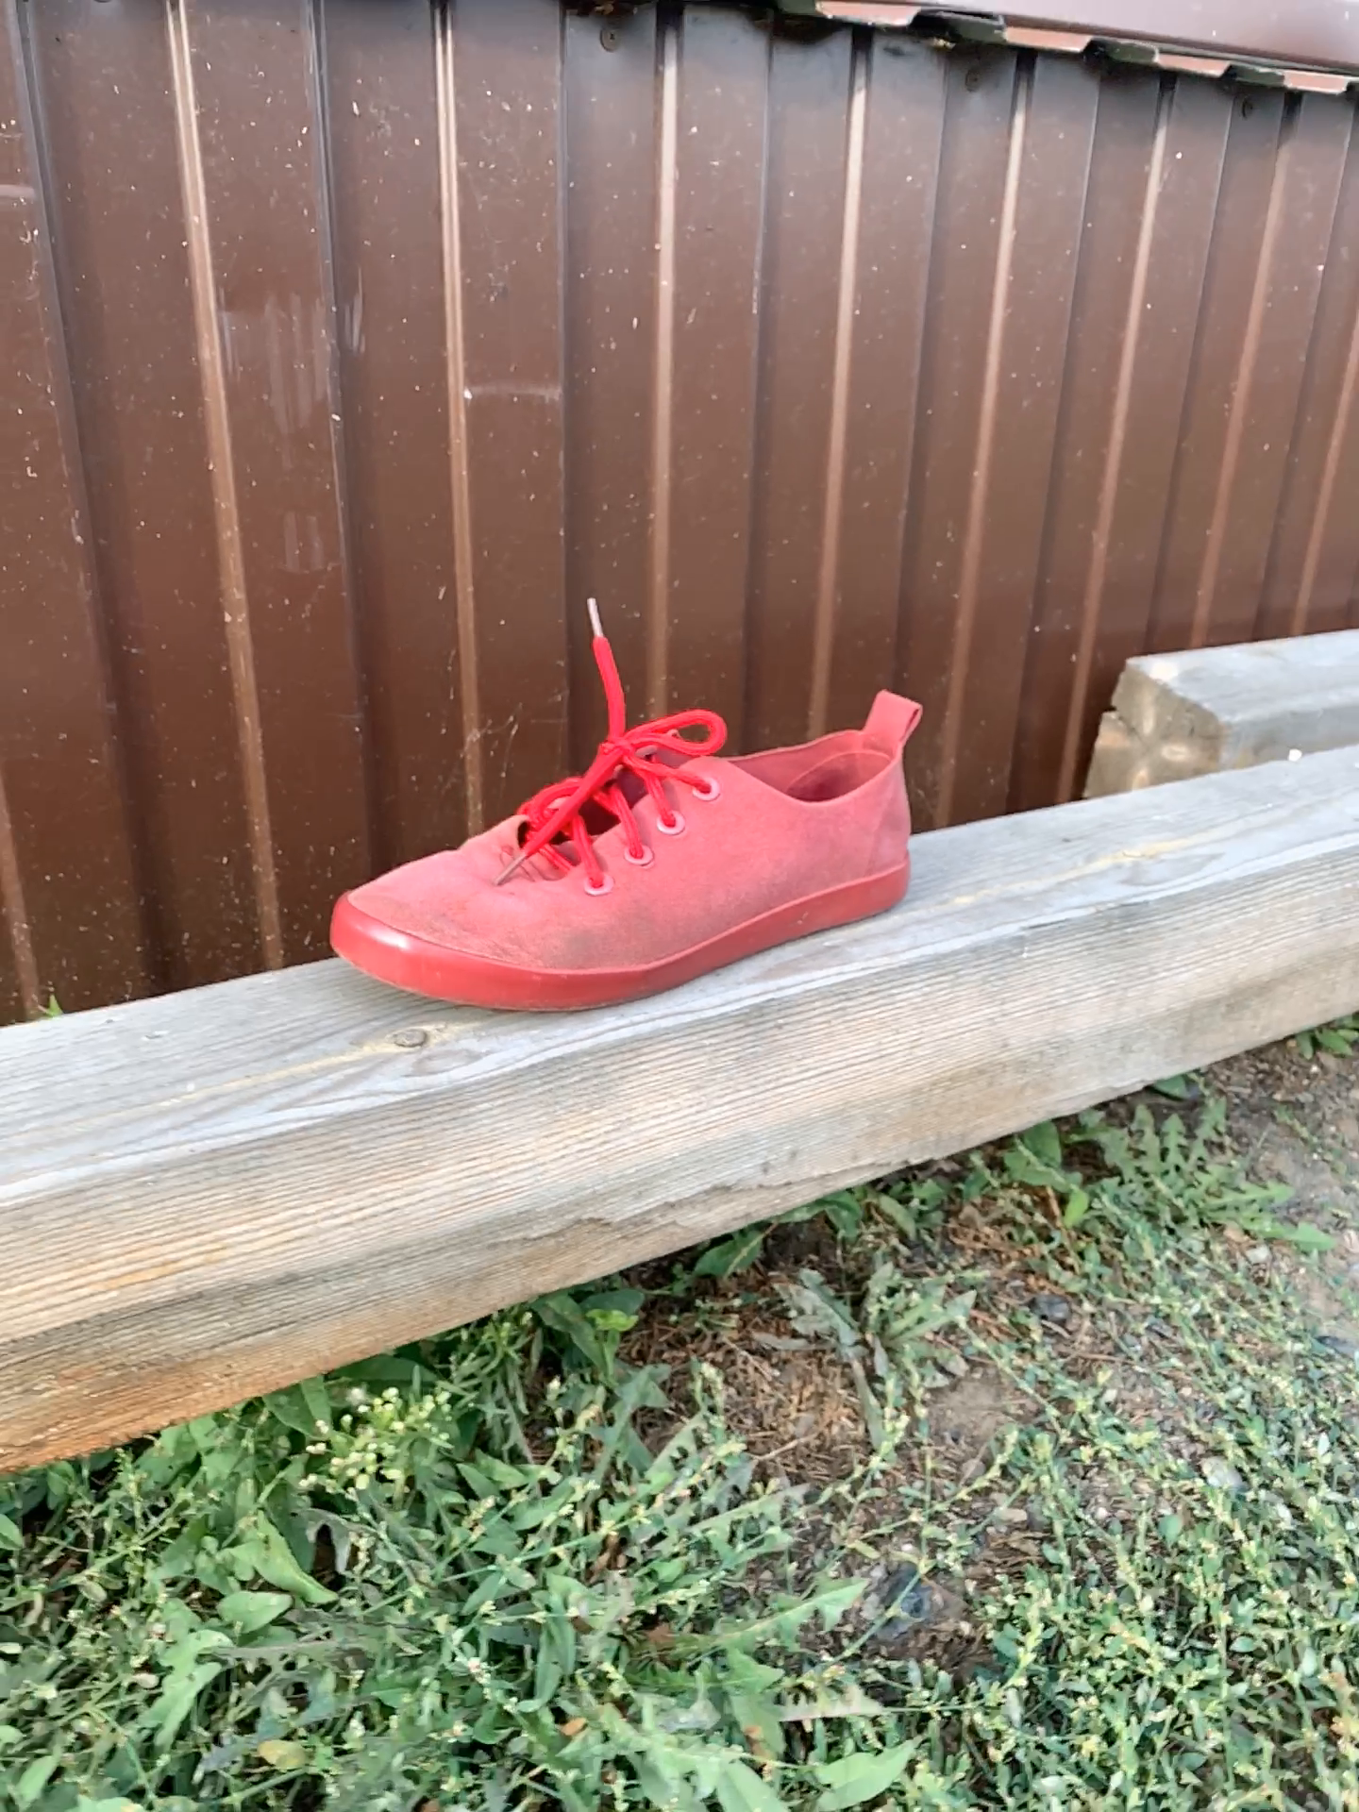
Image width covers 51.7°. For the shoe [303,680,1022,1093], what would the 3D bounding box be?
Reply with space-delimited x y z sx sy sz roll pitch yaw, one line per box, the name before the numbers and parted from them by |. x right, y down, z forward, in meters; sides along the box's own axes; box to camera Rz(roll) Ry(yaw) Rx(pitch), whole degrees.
shoe | 0.001 -0.020 0.508 0.241 0.069 0.100 -16 28 -33
